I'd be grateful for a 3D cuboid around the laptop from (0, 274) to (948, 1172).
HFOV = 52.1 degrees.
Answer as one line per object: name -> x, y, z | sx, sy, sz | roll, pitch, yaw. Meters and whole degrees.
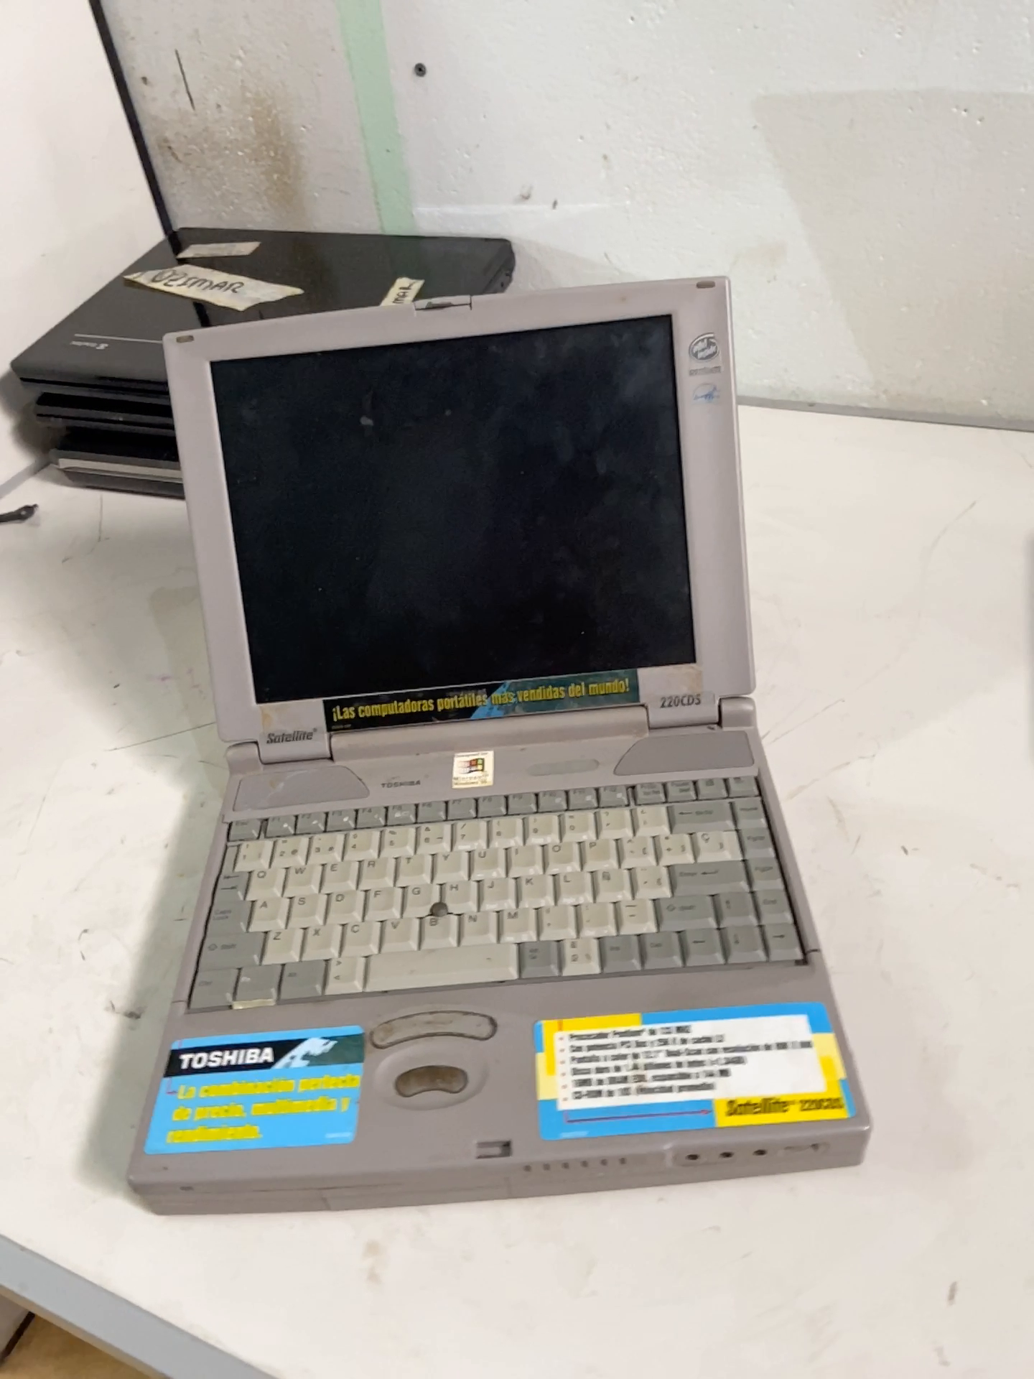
laptop -> -0.025, -0.009, 0.495 | 0.301, 0.195, 0.359 | -5, 42, 3
